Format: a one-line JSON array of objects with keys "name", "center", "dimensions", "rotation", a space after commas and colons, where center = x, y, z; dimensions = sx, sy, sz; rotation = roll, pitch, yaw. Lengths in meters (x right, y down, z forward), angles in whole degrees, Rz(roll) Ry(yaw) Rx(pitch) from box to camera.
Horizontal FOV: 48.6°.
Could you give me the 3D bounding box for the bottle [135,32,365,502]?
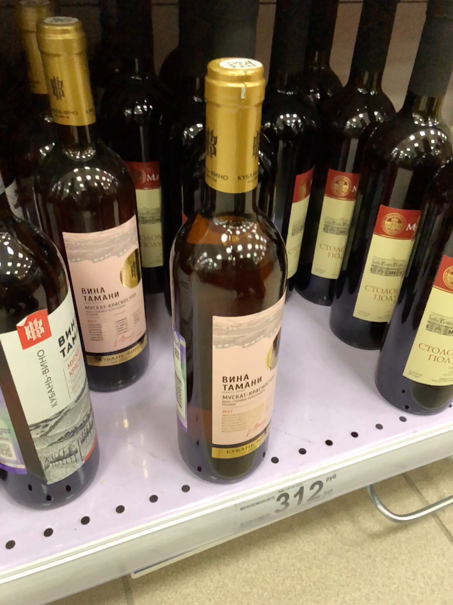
[{"name": "bottle", "center": [0.003, 0.000, 0.317], "dimensions": [0.080, 0.290, 0.070], "rotation": [-18, 42, -25]}]
